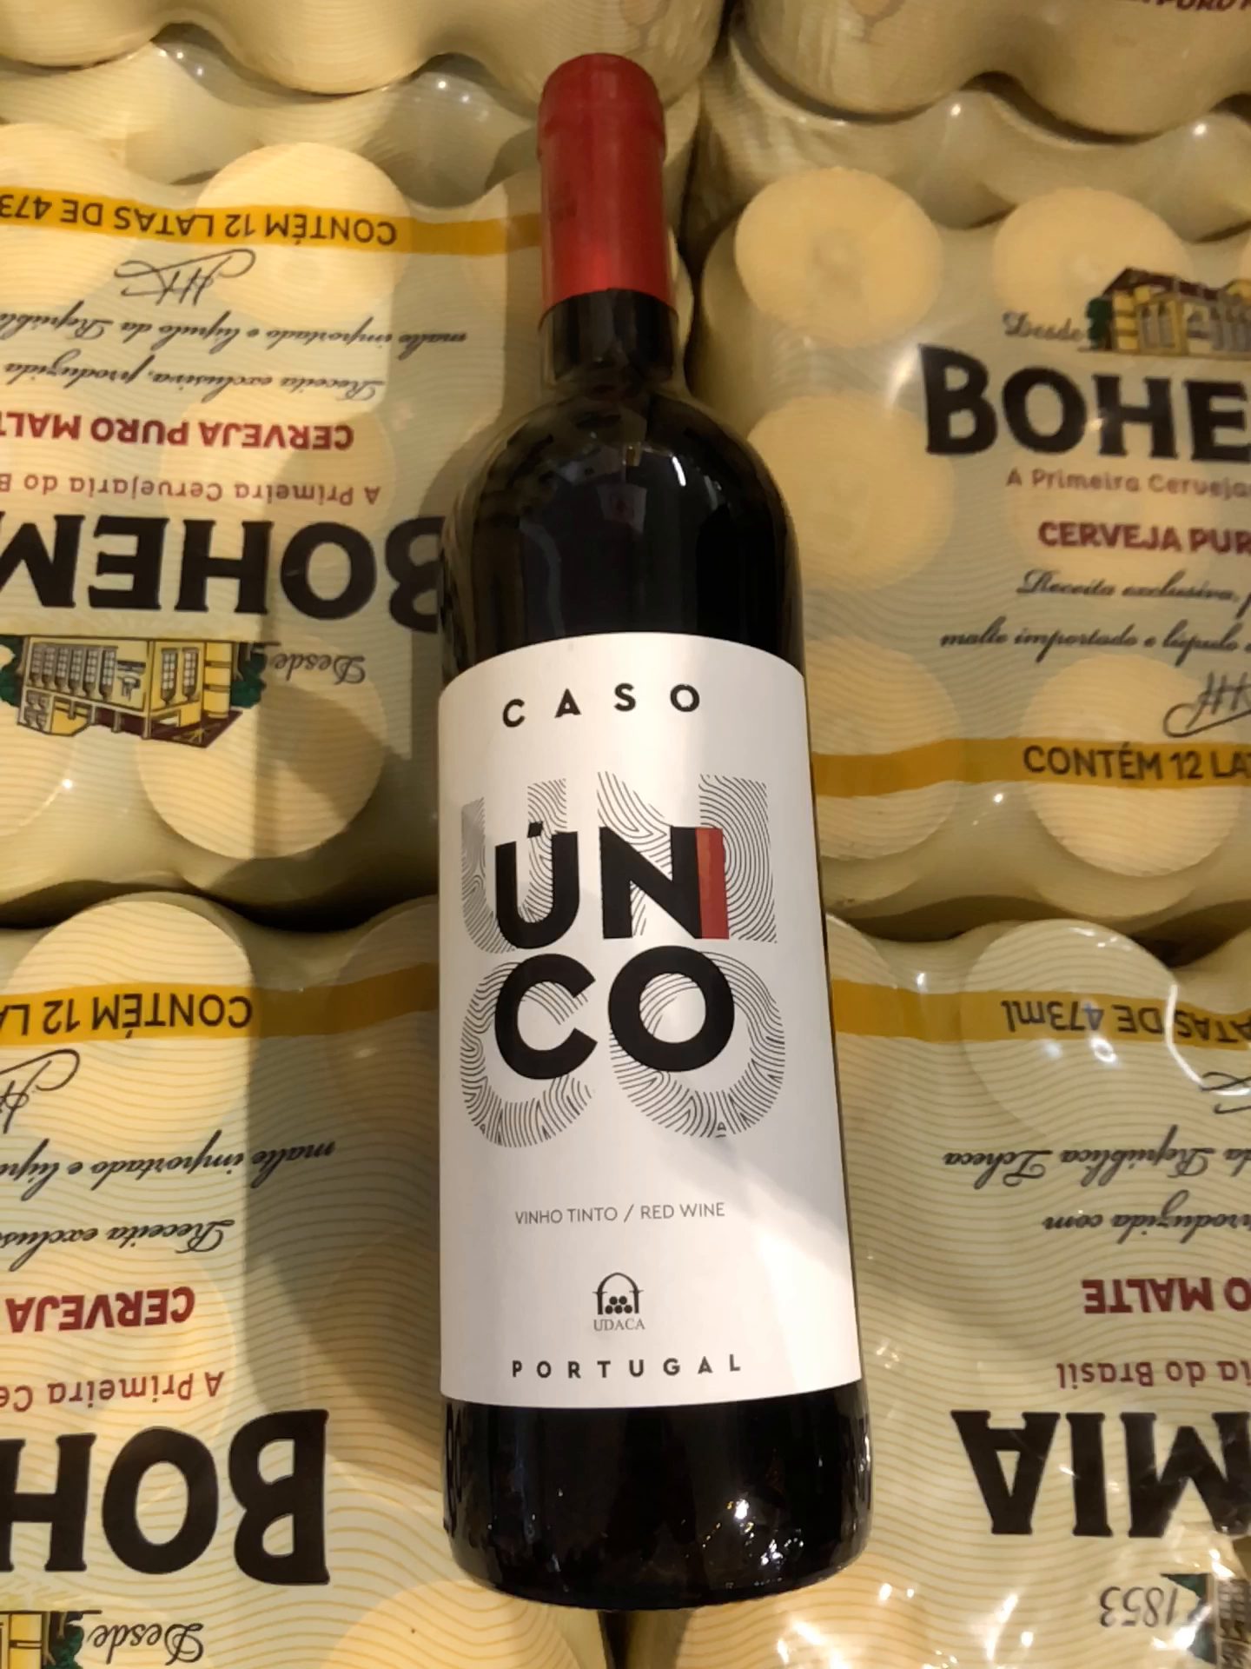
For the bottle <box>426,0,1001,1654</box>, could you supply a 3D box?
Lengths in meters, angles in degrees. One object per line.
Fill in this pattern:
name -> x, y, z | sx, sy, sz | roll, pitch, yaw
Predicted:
bottle -> 0.005, -0.037, 0.276 | 0.080, 0.070, 0.330 | -1, 76, -5
